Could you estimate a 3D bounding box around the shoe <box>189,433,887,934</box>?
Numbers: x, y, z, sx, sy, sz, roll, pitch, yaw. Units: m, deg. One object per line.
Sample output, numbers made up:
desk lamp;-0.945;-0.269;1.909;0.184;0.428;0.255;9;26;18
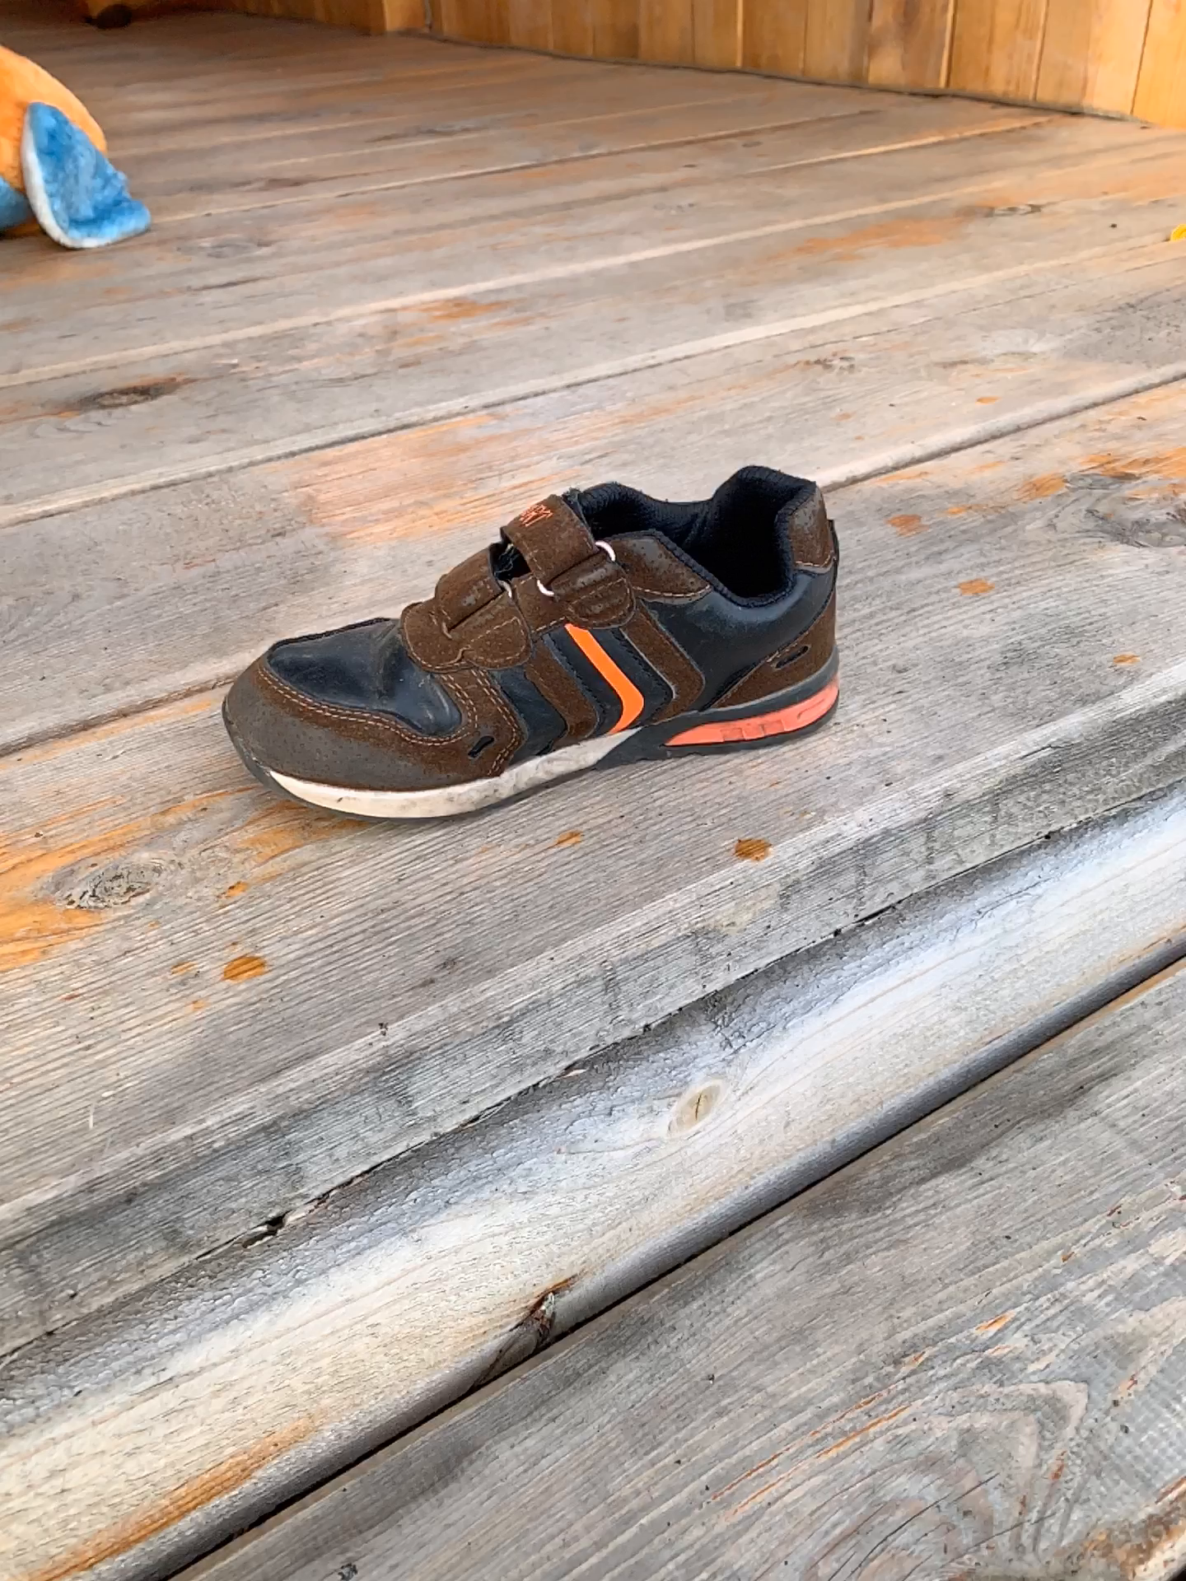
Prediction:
shoe;-0.018;-0.041;0.389;0.190;0.089;0.091;-13;37;-14
